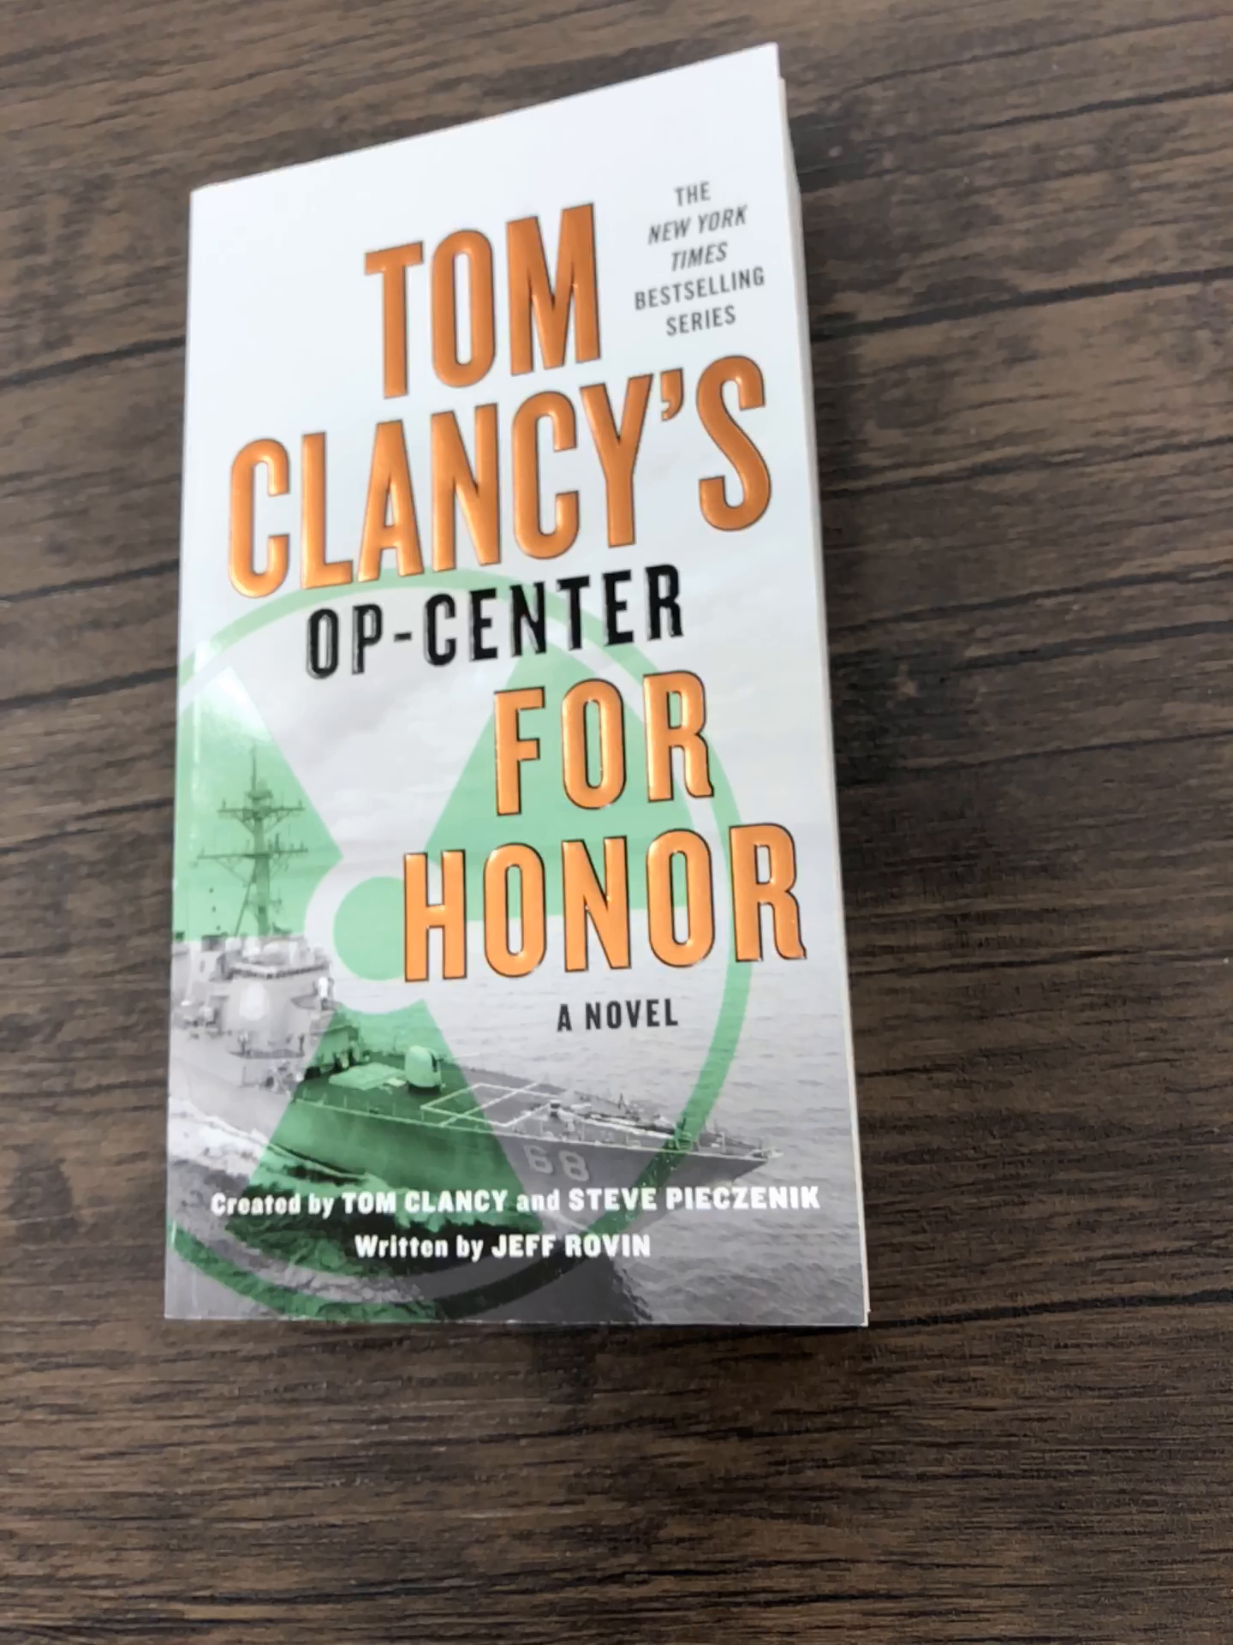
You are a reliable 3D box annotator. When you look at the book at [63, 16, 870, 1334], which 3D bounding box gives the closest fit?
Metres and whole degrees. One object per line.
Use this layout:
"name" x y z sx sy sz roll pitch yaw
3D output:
"book" -0.025 -0.020 0.226 0.113 0.040 0.190 -5 79 15
